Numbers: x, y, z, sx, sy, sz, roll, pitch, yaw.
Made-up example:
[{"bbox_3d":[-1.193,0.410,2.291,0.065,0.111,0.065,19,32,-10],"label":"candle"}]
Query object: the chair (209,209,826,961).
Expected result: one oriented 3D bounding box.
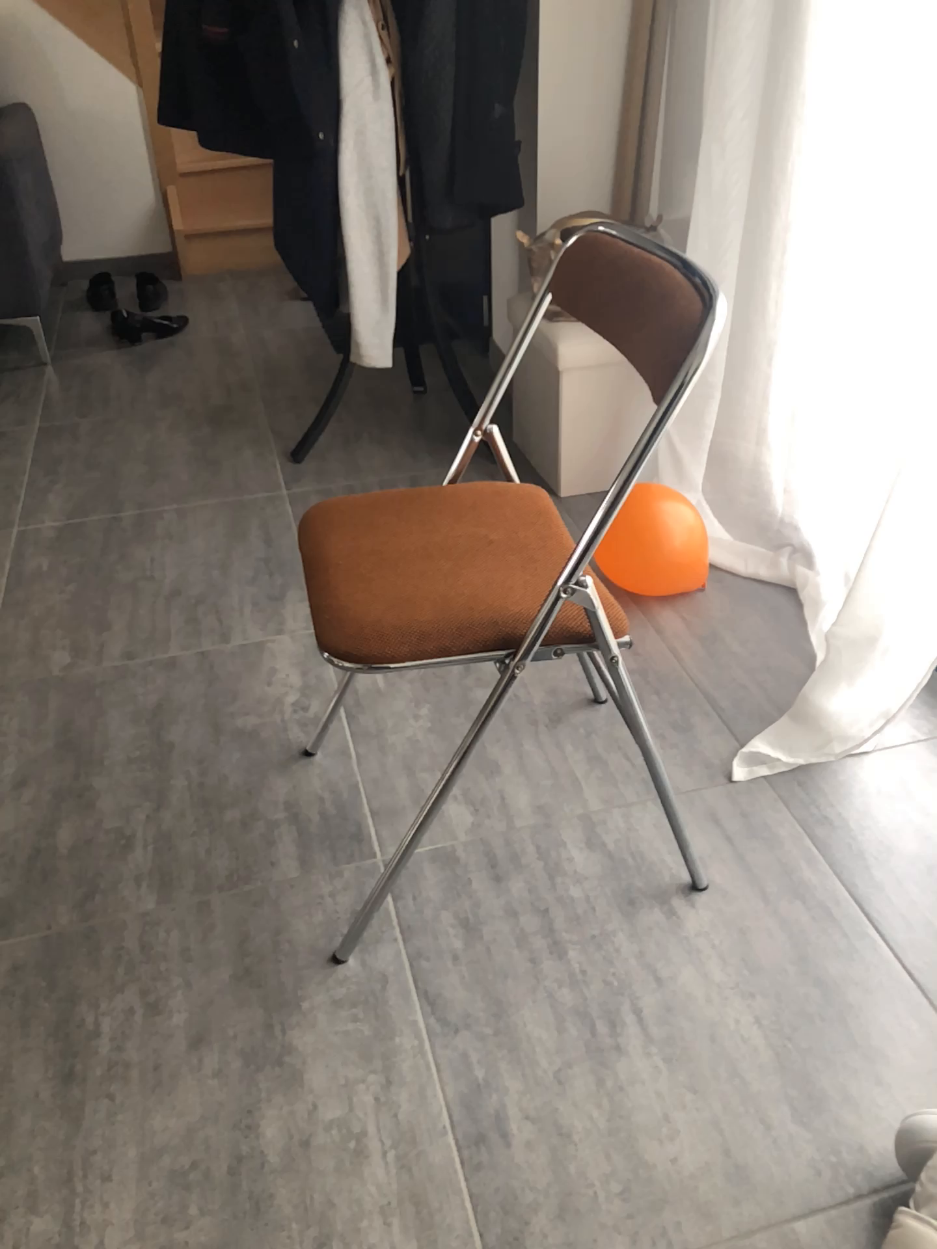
[{"bbox_3d":[0.014,-0.065,1.286,0.551,0.736,0.482,-8,34,-10],"label":"chair"}]
